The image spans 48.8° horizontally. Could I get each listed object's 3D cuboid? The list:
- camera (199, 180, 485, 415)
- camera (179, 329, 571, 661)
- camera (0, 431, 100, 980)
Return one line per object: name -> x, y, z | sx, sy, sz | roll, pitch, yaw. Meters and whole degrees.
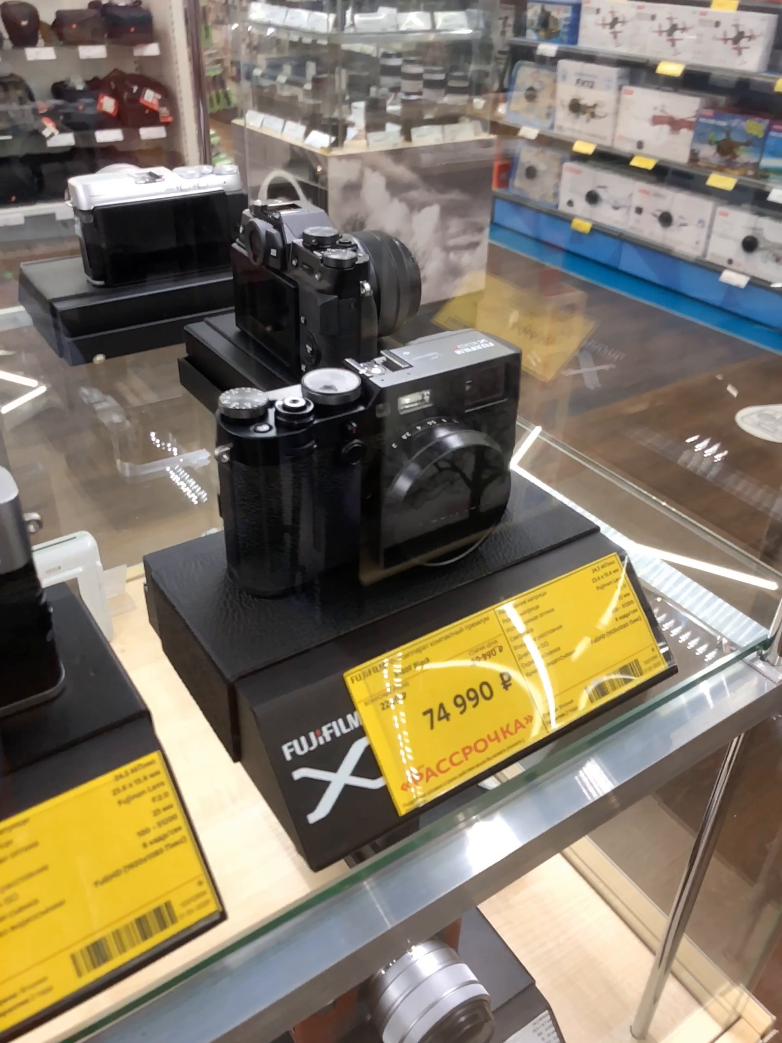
camera -> -0.031, -0.135, 0.493 | 0.104, 0.080, 0.131 | -19, 39, -29
camera -> -0.004, -0.016, 0.325 | 0.131, 0.075, 0.054 | -20, 39, -29
camera -> -0.156, 0.039, 0.225 | 0.131, 0.080, 0.054 | -20, 39, -29
